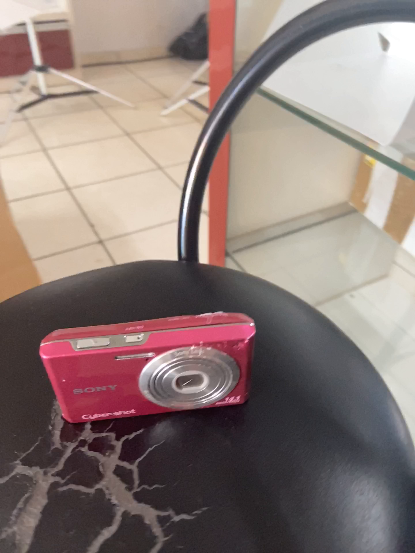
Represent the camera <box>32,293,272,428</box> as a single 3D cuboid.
[{"bbox_3d":[-0.023,0.041,0.208,0.100,0.050,0.030,-5,40,-4],"label":"camera"}]
